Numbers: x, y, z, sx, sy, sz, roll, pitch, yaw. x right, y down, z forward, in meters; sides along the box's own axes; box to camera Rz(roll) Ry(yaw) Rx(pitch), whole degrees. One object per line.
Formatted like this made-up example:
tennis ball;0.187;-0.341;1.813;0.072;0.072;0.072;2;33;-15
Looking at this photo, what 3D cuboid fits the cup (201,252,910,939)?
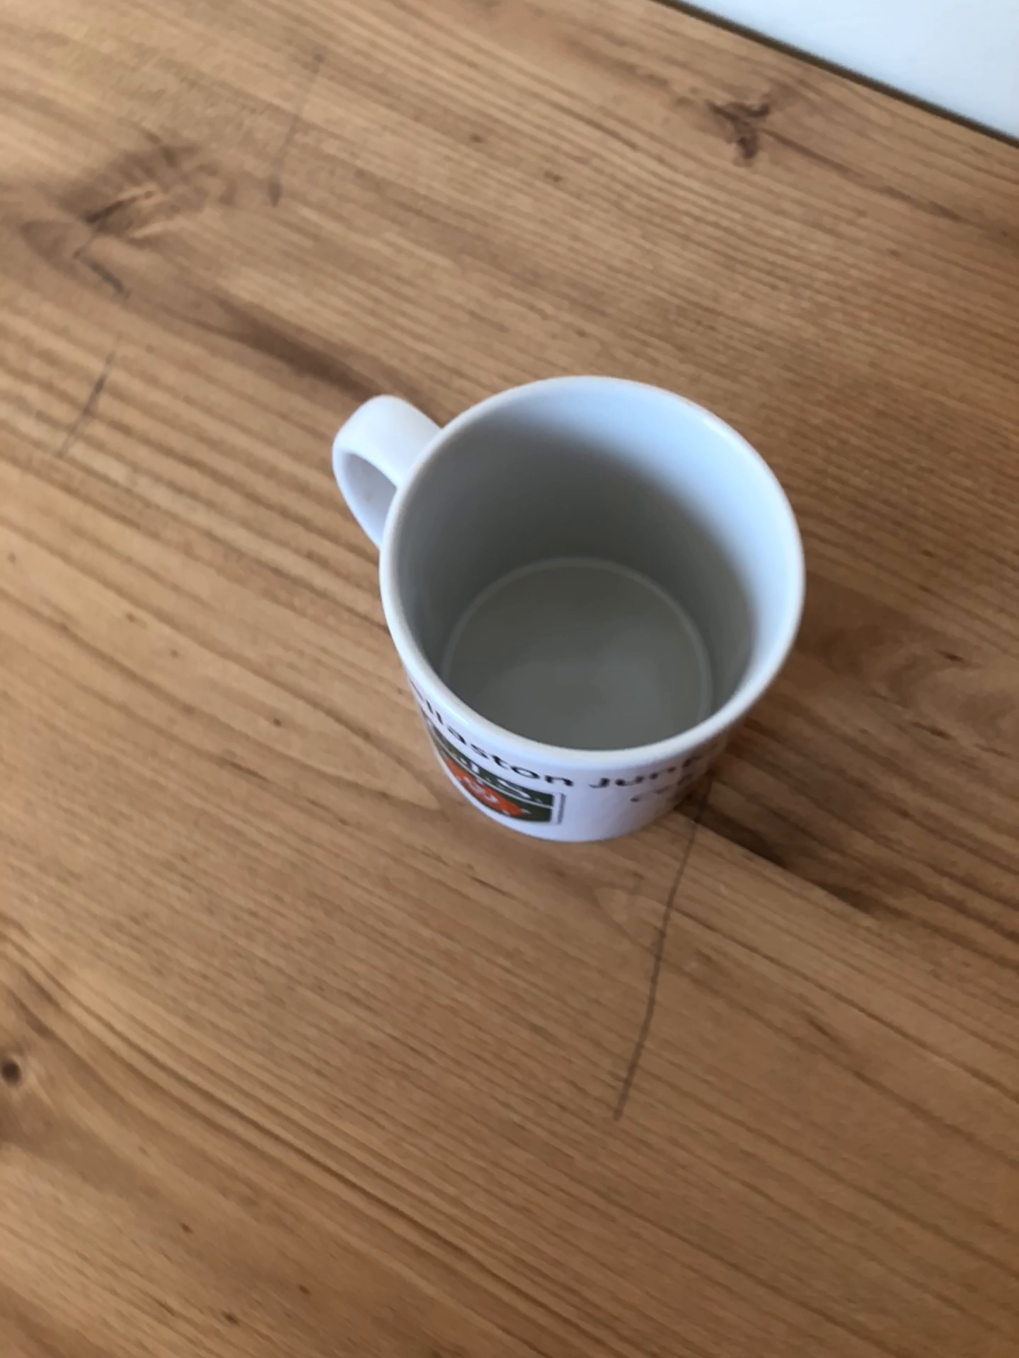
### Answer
cup;0.010;-0.014;0.267;0.110;0.096;0.083;34;74;15
